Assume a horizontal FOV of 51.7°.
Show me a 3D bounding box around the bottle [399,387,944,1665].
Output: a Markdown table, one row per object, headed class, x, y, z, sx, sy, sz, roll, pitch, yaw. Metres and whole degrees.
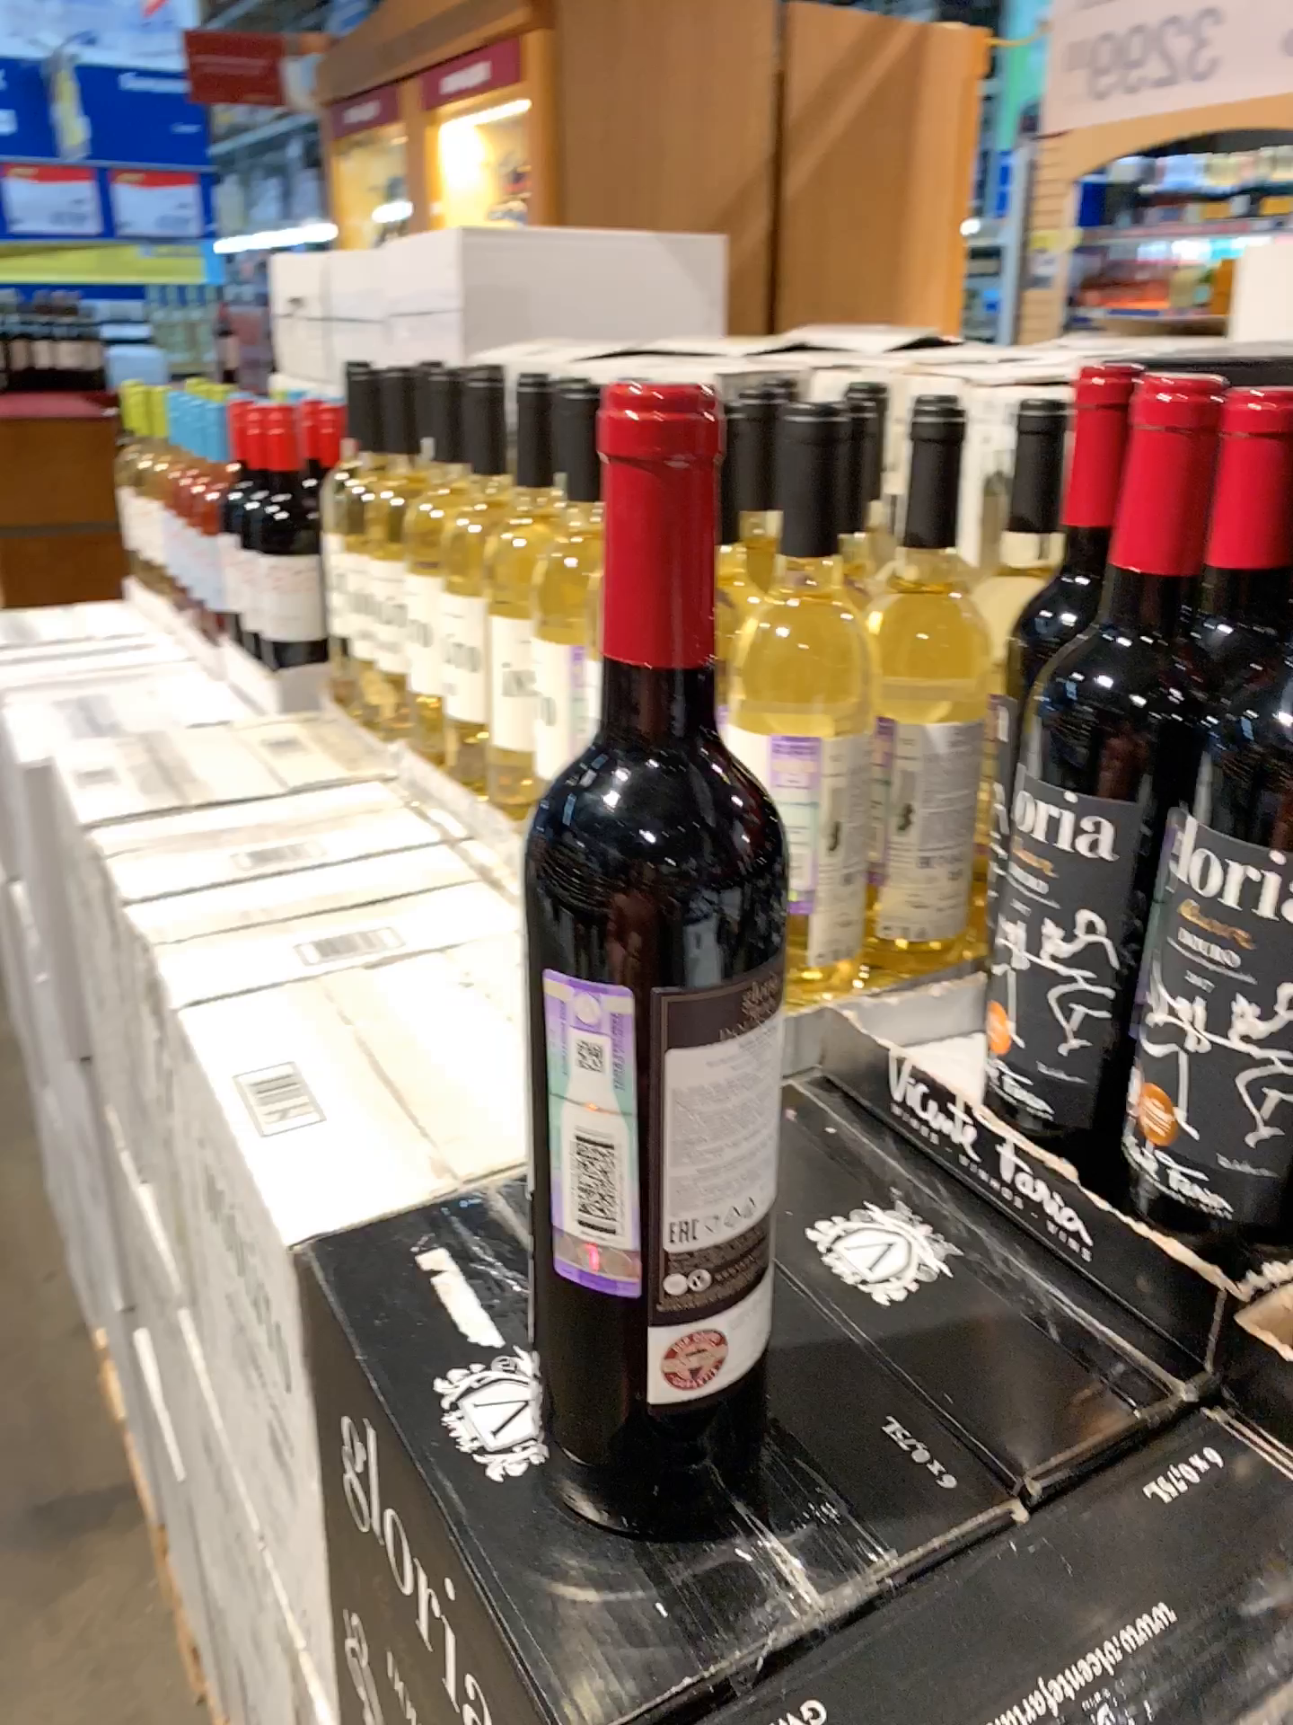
| class | x | y | z | sx | sy | sz | roll | pitch | yaw |
| --- | --- | --- | --- | --- | --- | --- | --- | --- | --- |
| bottle | 0.005 | 0.046 | 0.355 | 0.090 | 0.318 | 0.080 | -18 | 29 | -37 |
